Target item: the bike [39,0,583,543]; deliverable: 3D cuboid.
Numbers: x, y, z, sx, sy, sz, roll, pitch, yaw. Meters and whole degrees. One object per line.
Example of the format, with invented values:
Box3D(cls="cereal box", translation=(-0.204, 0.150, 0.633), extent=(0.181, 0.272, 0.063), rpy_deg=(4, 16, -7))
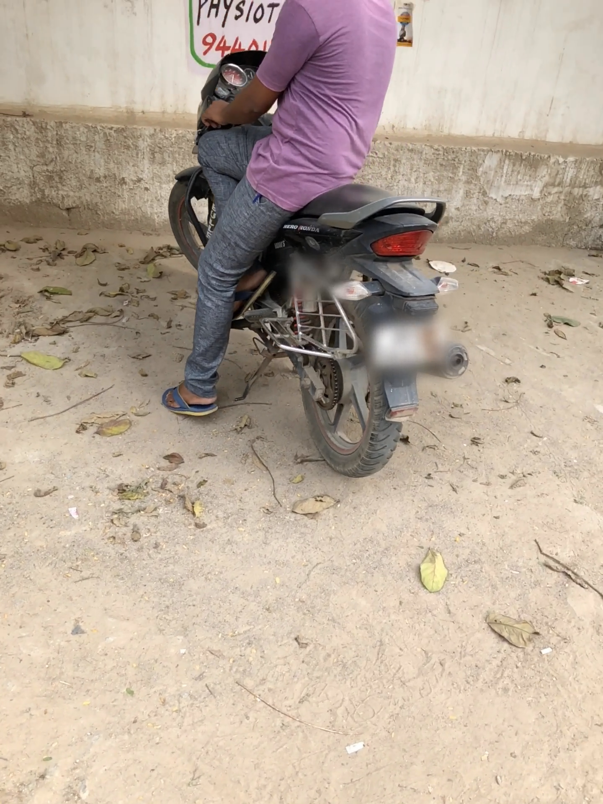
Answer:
Box3D(cls="bike", translation=(-0.203, -0.672, 2.347), extent=(0.827, 1.190, 1.842), rpy_deg=(-13, 37, -27))
